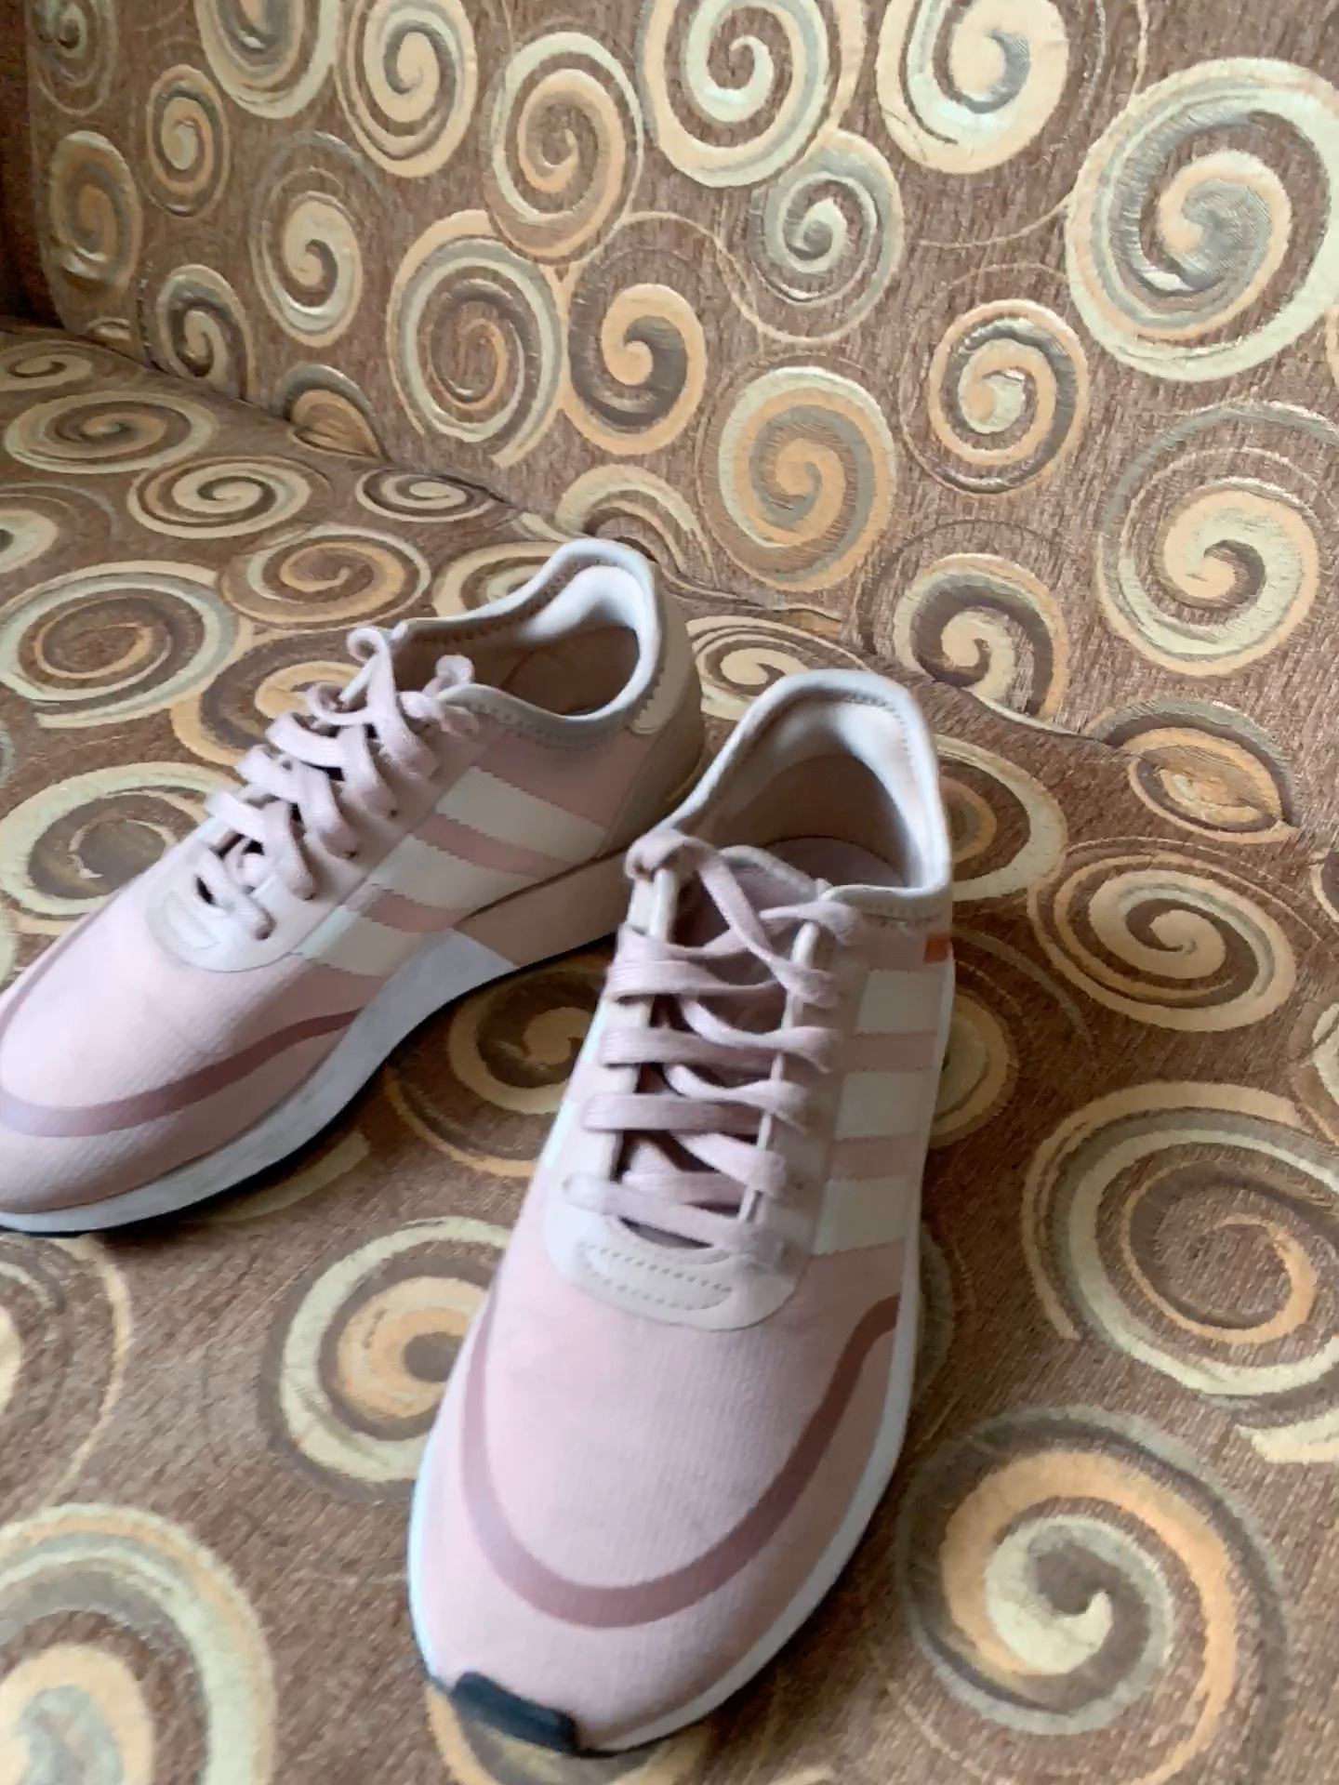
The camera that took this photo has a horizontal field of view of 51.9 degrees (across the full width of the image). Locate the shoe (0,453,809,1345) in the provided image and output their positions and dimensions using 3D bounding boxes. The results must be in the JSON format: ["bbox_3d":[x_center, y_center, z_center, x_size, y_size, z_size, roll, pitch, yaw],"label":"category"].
[{"bbox_3d":[-0.088,-0.014,0.372,0.250,0.090,0.100,-34,55,-26],"label":"shoe"}]

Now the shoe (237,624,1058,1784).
[{"bbox_3d":[0.017,0.056,0.319,0.100,0.090,0.251,12,49,12],"label":"shoe"}]
